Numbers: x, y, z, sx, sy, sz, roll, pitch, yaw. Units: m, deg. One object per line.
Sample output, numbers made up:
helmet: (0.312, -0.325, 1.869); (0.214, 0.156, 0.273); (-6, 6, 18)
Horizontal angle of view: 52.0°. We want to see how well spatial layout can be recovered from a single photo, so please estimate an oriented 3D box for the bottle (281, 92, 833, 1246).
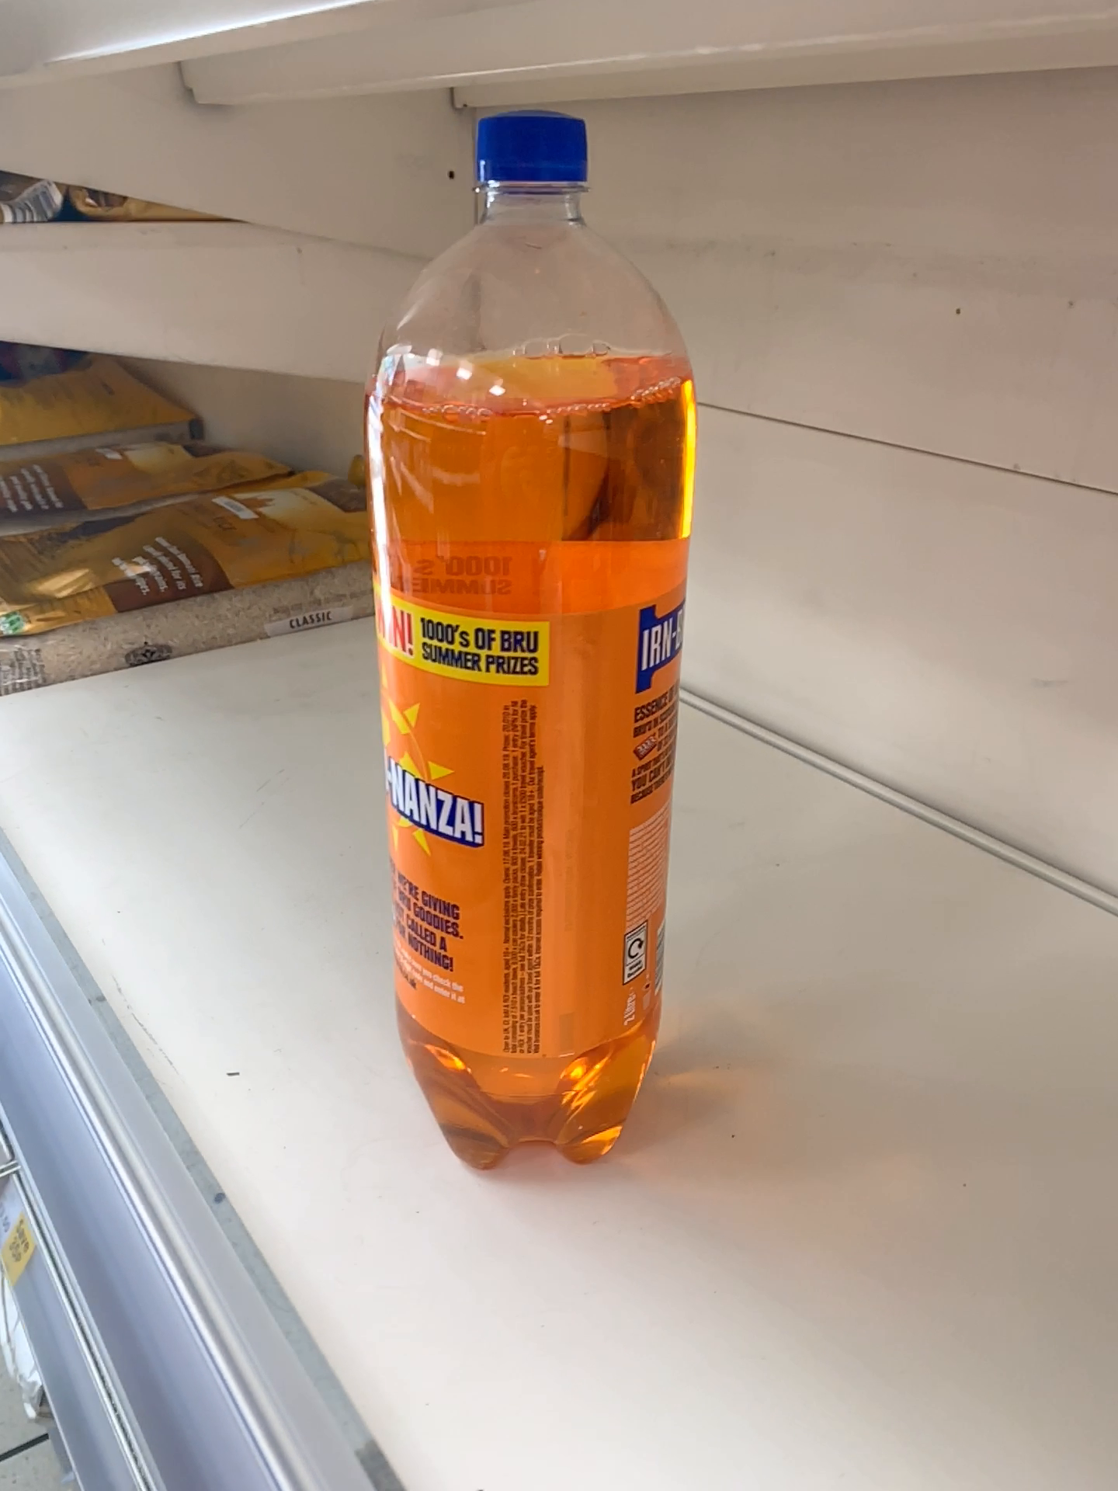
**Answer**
bottle: (-0.008, -0.017, 0.367); (0.110, 0.327, 0.111); (0, 26, 0)
